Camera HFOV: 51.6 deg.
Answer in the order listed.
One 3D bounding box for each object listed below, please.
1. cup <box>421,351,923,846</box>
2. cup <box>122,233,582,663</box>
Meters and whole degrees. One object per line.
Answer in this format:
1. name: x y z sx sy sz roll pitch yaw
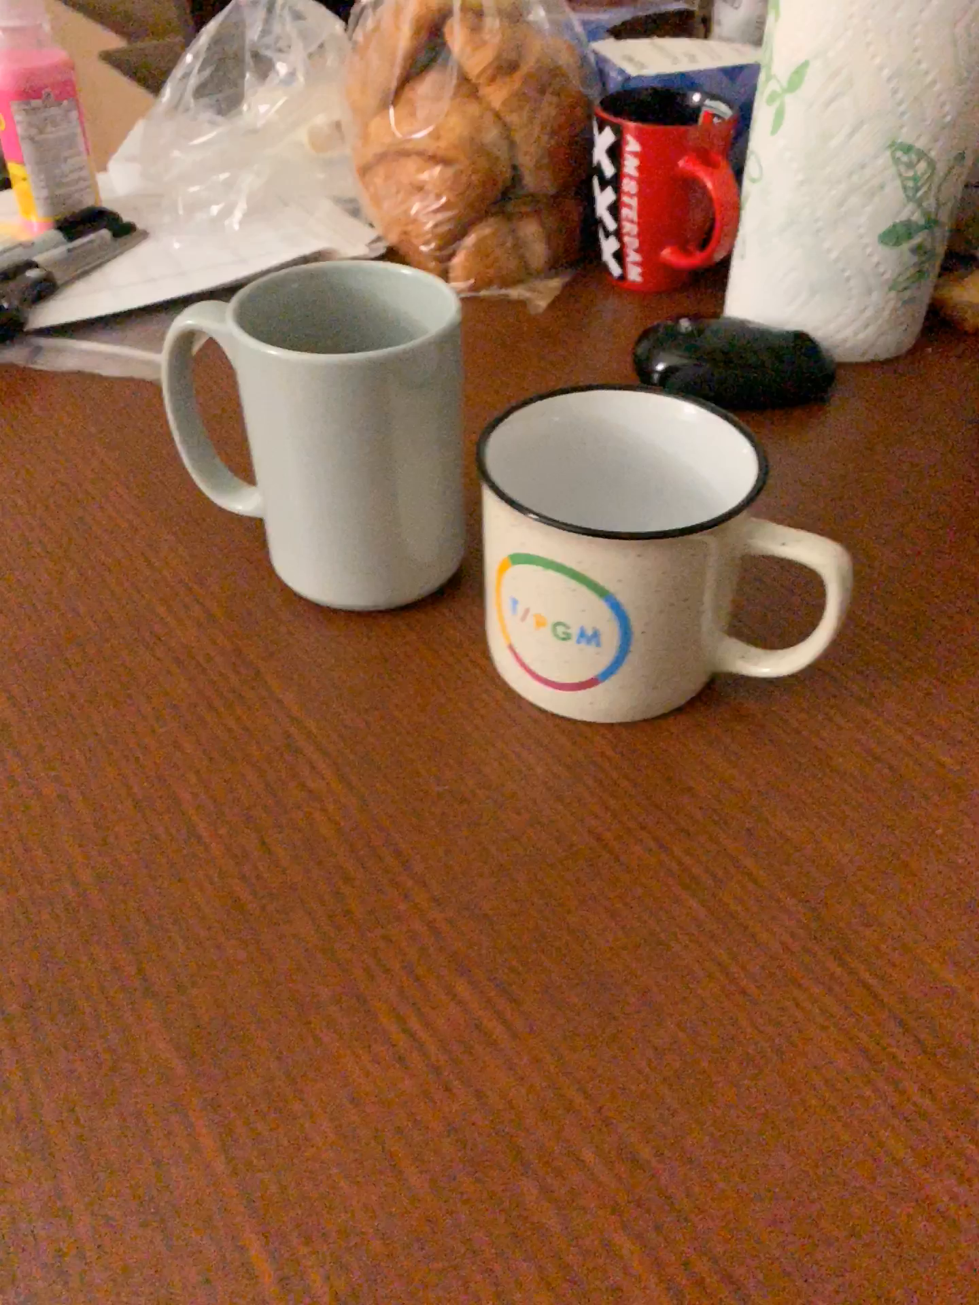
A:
1. cup: 0.059 -0.026 0.365 0.130 0.099 0.100 29 49 28
2. cup: -0.052 -0.089 0.409 0.140 0.099 0.100 28 49 28
